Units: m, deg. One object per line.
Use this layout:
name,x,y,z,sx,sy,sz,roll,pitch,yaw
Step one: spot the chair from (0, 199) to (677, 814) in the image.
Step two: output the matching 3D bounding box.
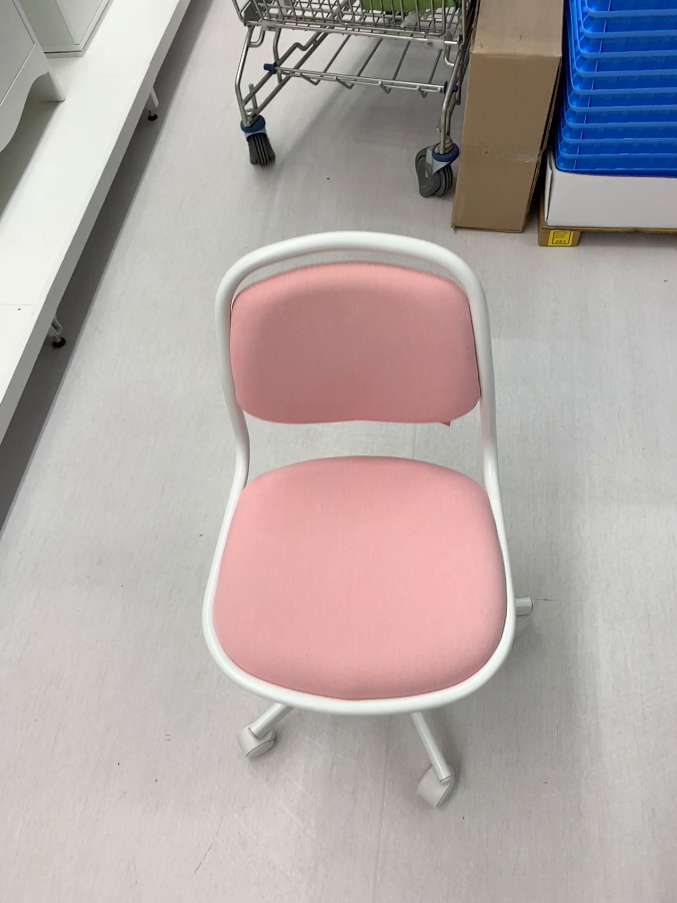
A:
chair,0.016,0.139,0.919,0.560,0.699,0.531,1,60,8
